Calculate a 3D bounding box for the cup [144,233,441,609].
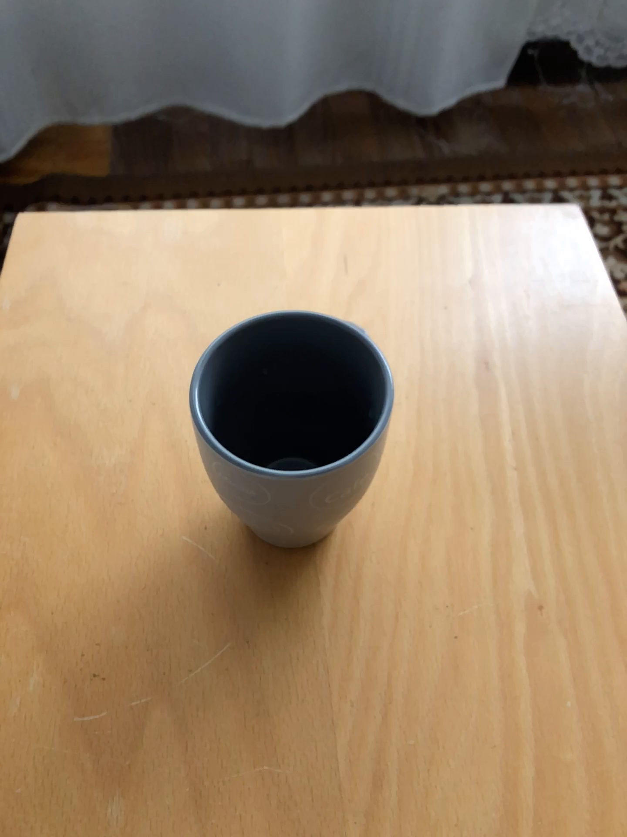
[{"bbox_3d":[-0.004,0.000,0.323,0.084,0.093,0.127,16,57,9],"label":"cup"}]
